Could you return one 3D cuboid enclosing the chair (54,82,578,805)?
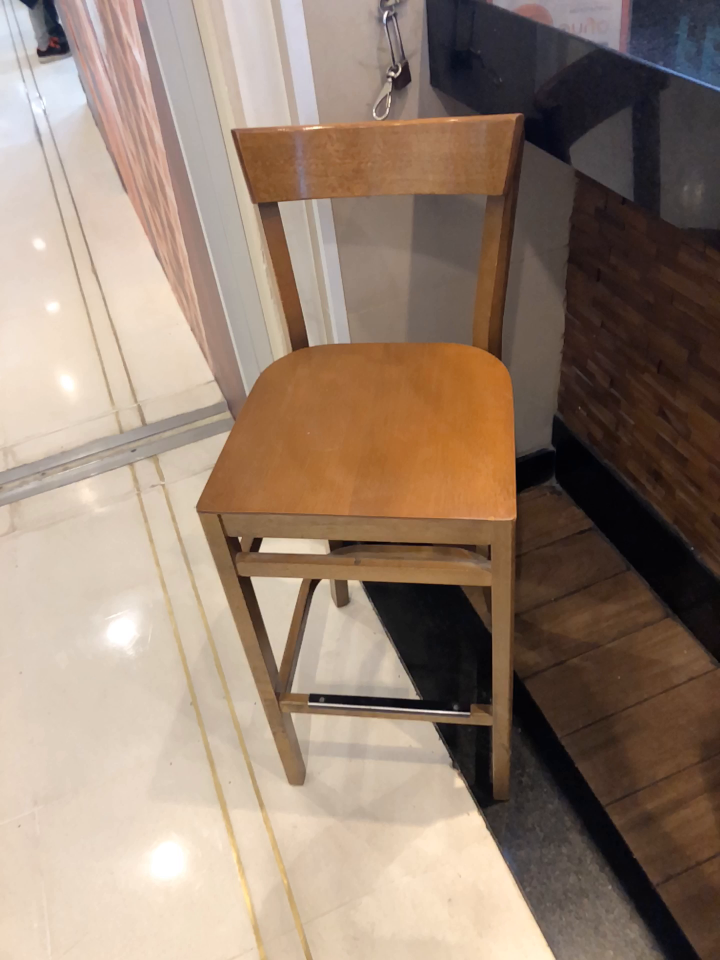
[{"bbox_3d":[0.029,0.012,1.237,0.480,0.993,0.534,0,43,9],"label":"chair"}]
